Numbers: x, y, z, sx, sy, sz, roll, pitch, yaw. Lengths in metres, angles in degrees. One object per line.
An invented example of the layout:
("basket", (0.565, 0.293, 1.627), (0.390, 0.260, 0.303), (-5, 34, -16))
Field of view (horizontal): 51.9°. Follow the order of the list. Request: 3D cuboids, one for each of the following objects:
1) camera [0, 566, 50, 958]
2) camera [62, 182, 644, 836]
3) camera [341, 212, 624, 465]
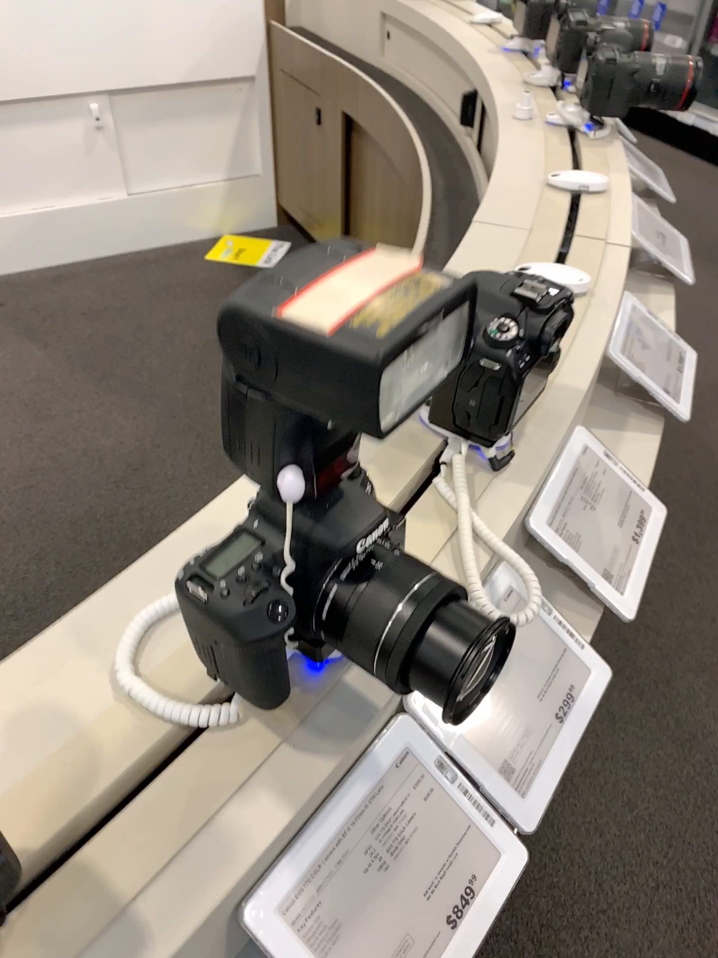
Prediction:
("camera", (-0.251, 0.152, 0.307), (0.166, 0.103, 0.140), (30, 49, 27))
("camera", (-0.005, 0.013, 0.363), (0.176, 0.232, 0.140), (30, 49, 27))
("camera", (0.094, -0.120, 0.593), (0.166, 0.103, 0.141), (26, 48, 24))
